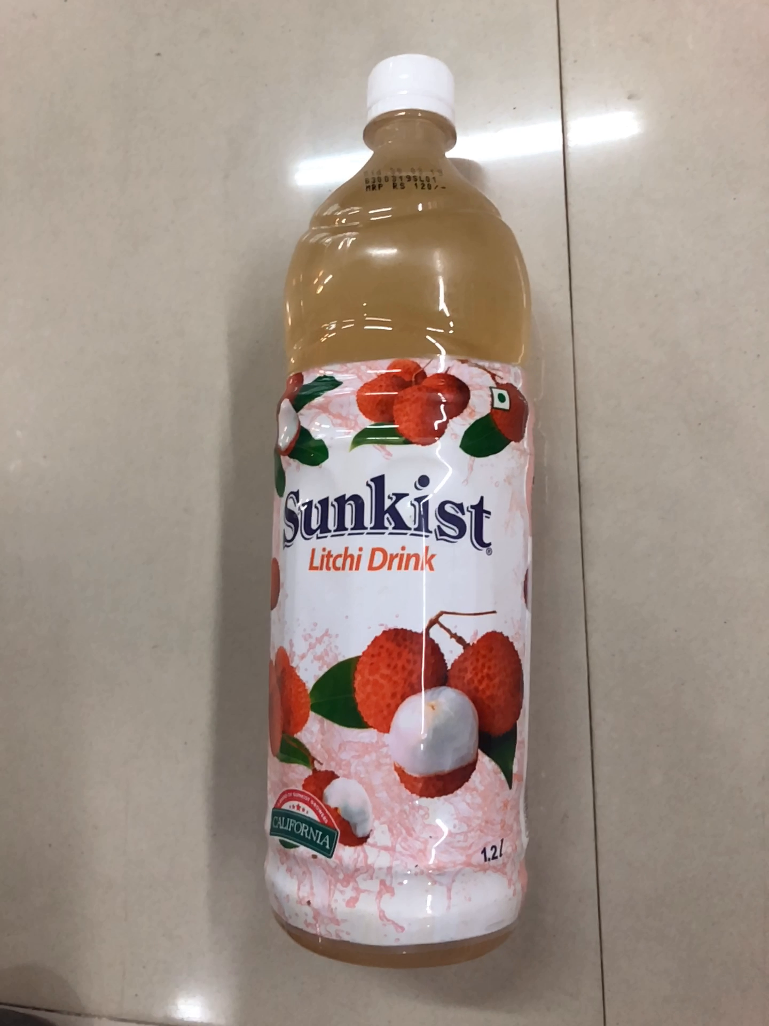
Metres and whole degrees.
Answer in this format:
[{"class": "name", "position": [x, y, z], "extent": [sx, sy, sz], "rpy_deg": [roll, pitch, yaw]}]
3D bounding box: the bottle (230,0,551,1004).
[{"class": "bottle", "position": [0.008, -0.013, 0.293], "extent": [0.090, 0.080, 0.300], "rpy_deg": [0, 87, 16]}]
